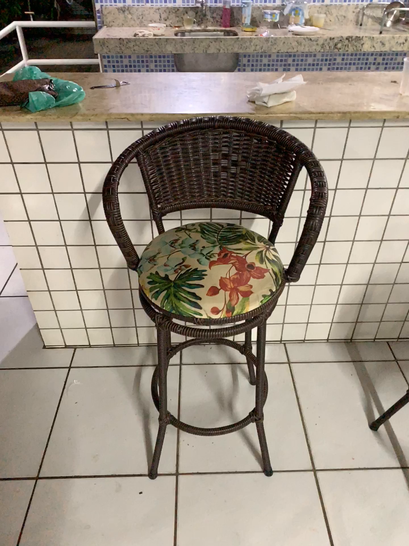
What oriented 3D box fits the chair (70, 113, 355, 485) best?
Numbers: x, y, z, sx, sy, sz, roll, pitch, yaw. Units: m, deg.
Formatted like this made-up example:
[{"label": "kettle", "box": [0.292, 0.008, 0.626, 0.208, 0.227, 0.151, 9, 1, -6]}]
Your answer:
[{"label": "chair", "box": [0.007, 0.109, 1.234, 0.500, 0.974, 0.533, -1, 37, -2]}]
